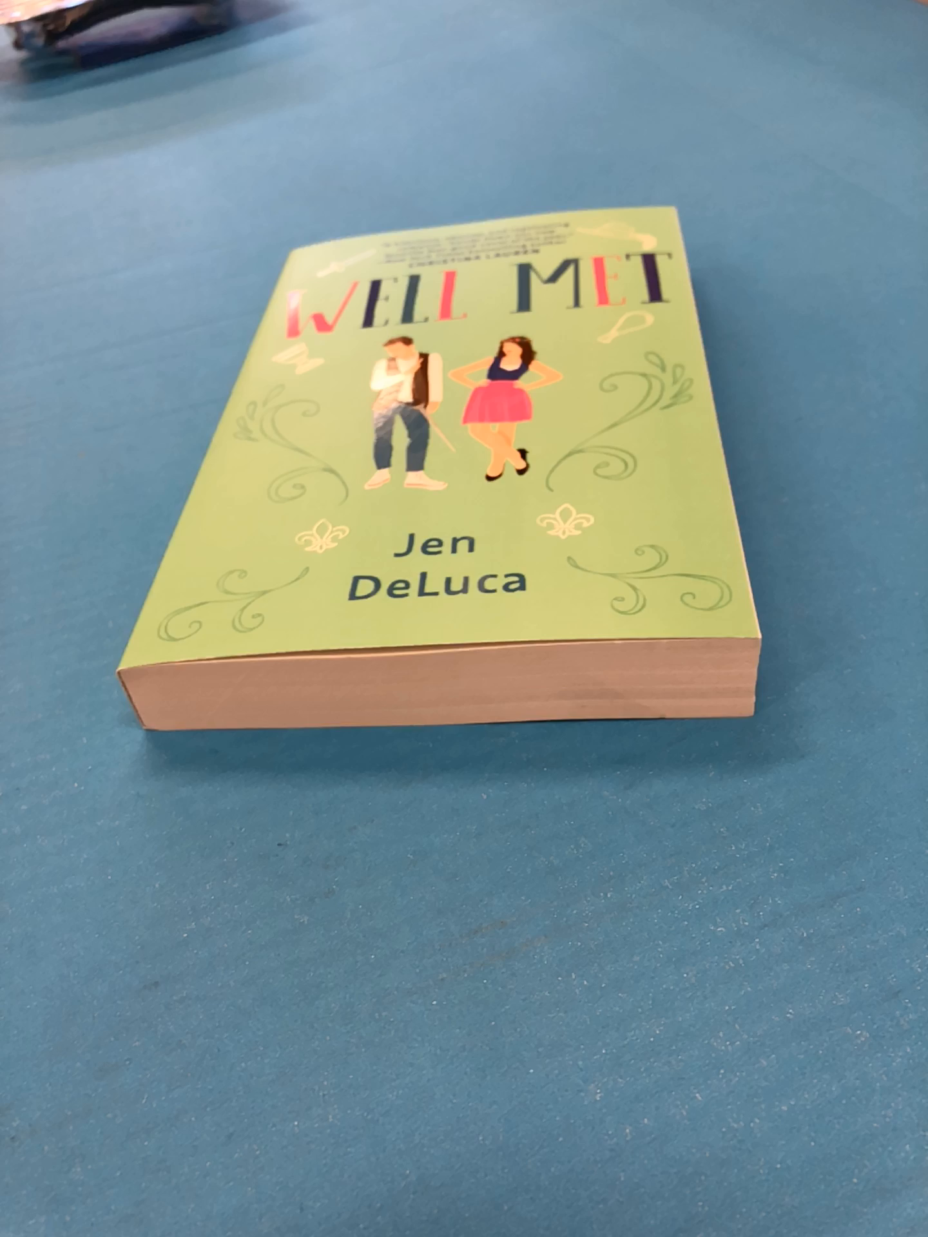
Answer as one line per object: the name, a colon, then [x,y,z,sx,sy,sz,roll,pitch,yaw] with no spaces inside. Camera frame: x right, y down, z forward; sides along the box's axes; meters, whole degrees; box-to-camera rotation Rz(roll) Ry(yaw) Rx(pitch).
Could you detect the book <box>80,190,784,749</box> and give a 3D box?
book: [-0.001,-0.058,0.301,0.146,0.030,0.216,-2,44,7]
